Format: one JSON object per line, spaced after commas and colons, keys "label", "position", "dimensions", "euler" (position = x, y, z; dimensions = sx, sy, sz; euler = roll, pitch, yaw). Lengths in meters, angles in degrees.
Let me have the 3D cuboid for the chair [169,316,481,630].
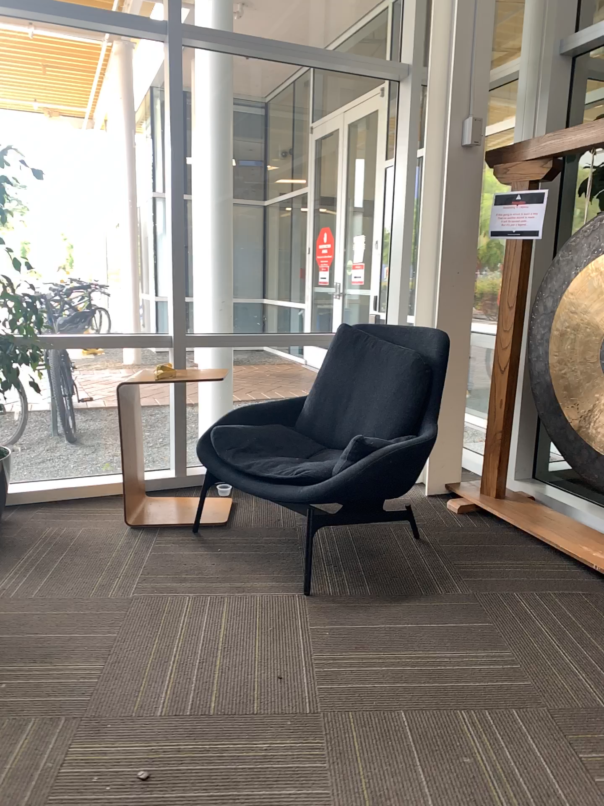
{"label": "chair", "position": [0.086, 0.161, 2.652], "dimensions": [0.940, 0.997, 0.903], "euler": [-9, 15, -43]}
